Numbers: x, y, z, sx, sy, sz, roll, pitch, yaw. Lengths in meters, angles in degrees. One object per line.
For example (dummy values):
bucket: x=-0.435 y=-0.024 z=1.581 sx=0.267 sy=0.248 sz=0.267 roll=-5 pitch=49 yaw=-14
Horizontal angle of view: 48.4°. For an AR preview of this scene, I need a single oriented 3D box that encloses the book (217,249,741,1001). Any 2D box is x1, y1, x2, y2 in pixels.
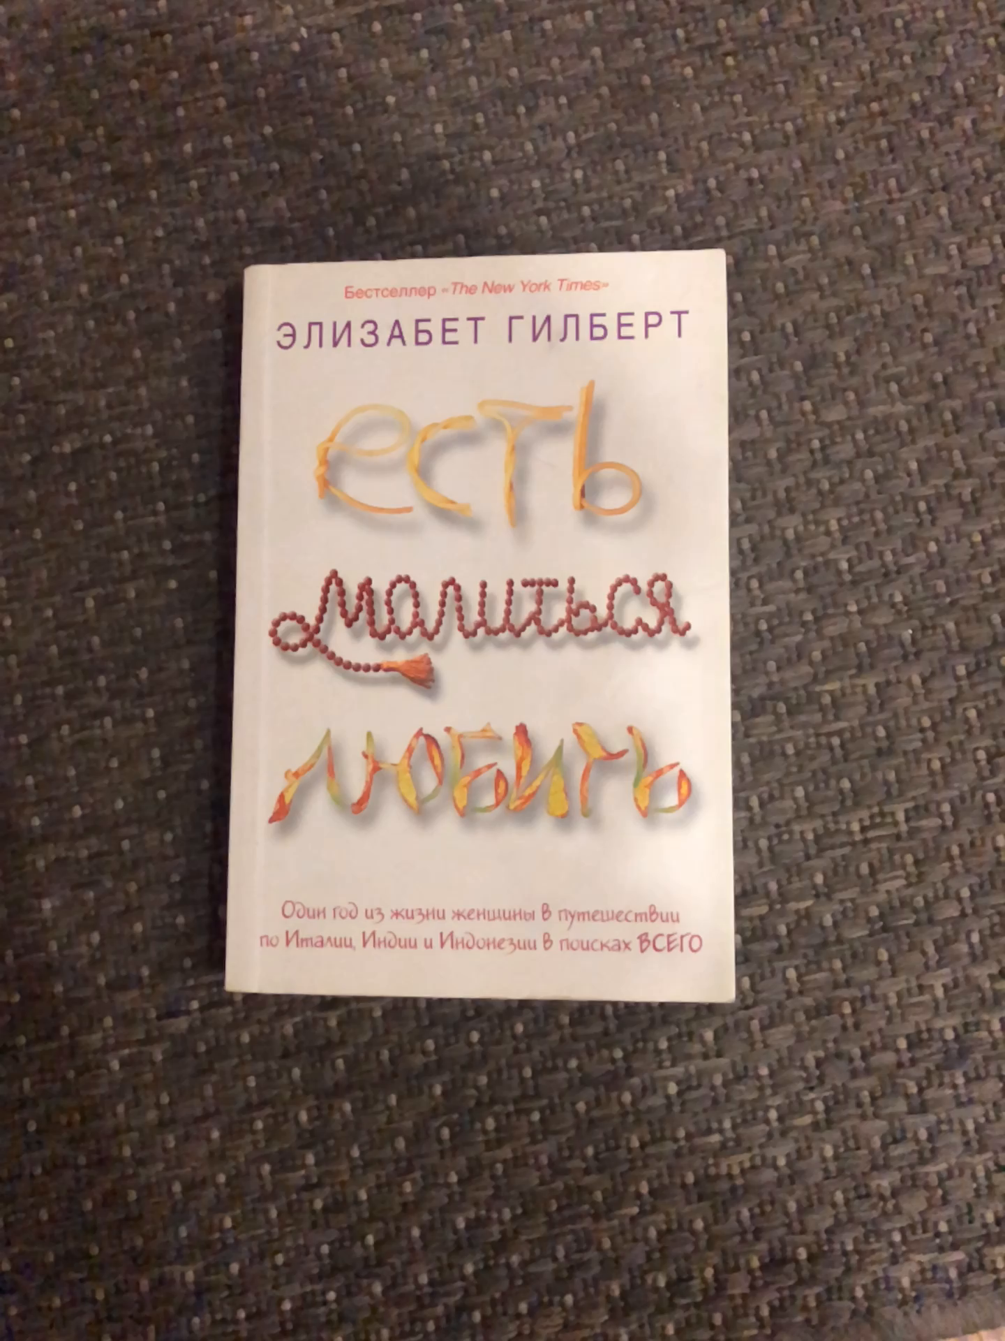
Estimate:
book: x=-0.006 y=-0.014 z=0.334 sx=0.142 sy=0.041 sz=0.210 roll=0 pitch=84 yaw=3
